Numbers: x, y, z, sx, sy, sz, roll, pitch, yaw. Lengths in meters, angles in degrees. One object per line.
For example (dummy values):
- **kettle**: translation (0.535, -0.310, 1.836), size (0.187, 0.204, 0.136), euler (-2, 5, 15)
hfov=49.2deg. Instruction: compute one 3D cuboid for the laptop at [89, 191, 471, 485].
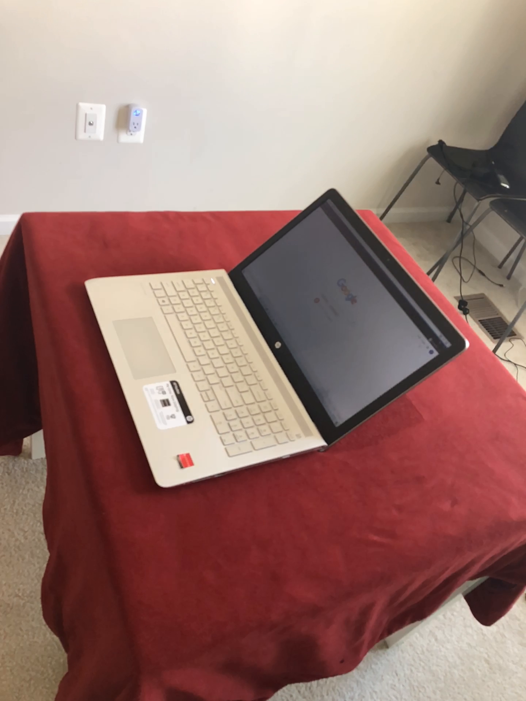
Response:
- **laptop**: translation (0.003, -0.053, 0.810), size (0.396, 0.158, 0.361), euler (-9, 51, -28)
